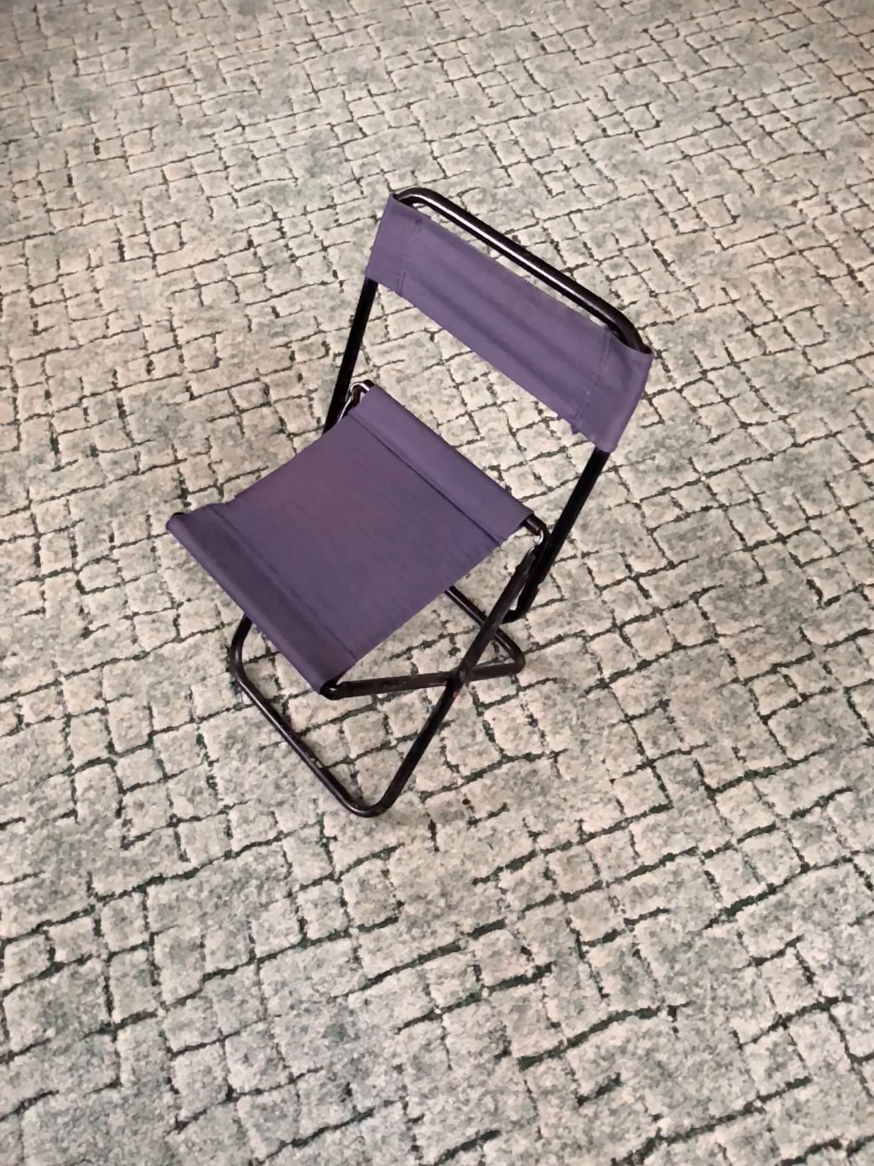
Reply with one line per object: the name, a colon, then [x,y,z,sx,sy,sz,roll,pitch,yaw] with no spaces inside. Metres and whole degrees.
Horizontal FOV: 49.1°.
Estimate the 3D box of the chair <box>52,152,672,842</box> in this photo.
chair: [-0.055,-0.061,1.032,0.399,0.537,0.342,-38,64,-20]
